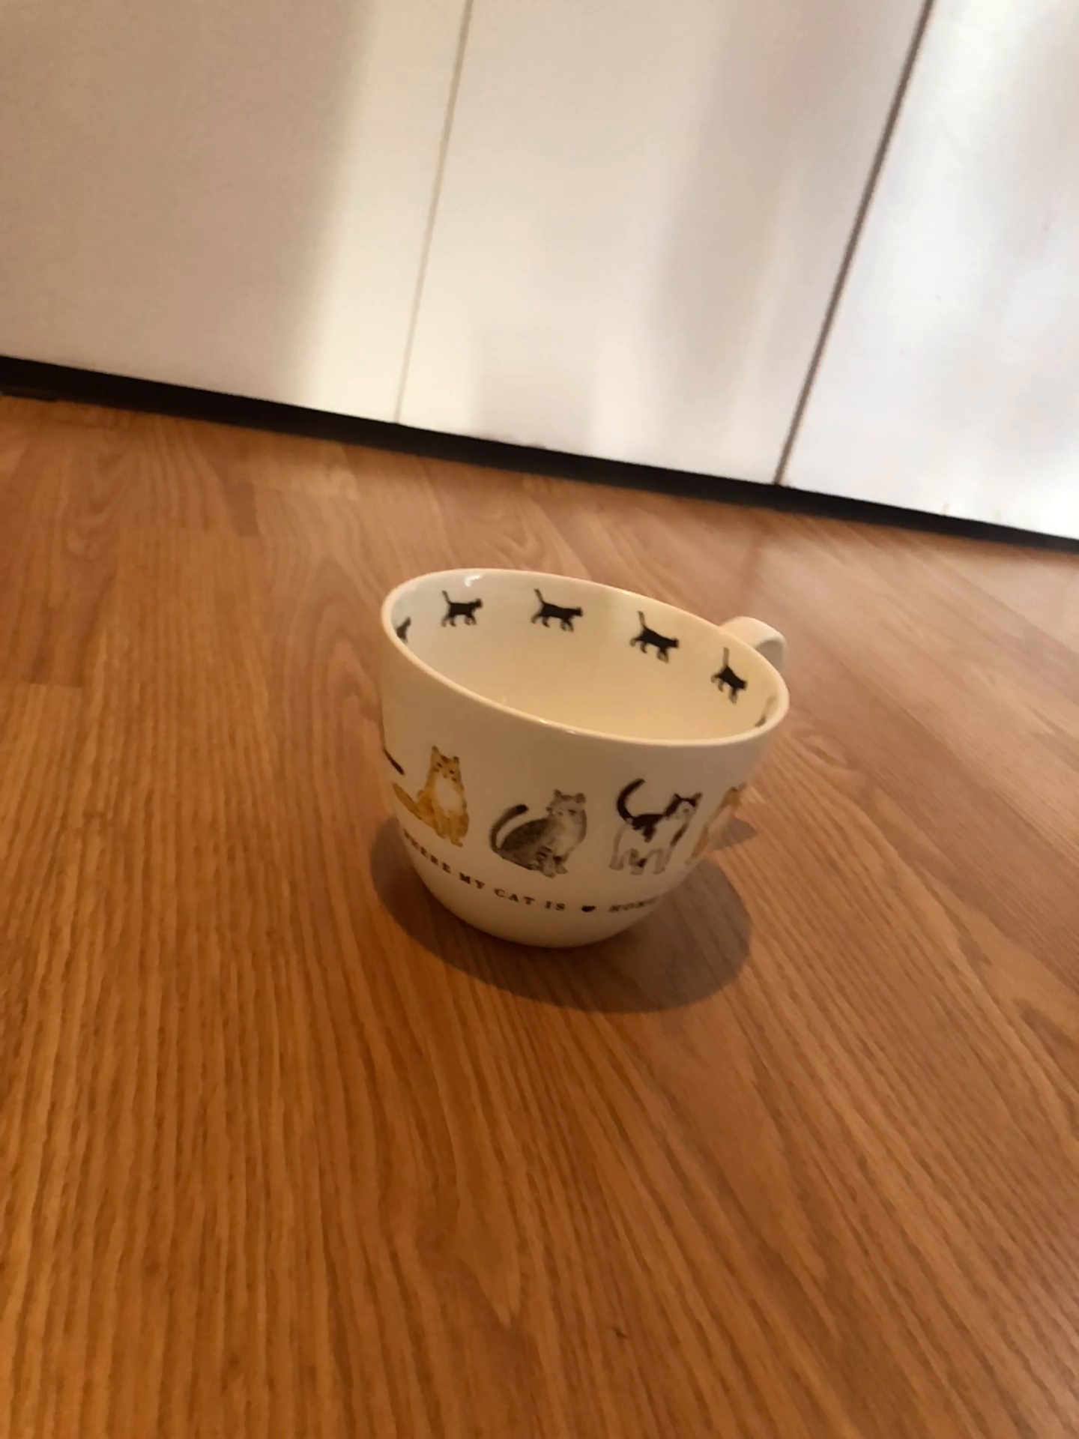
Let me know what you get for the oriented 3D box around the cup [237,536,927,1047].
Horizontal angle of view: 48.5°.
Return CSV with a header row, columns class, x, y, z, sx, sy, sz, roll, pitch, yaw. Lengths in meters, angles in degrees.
class,x,y,z,sx,sy,sz,roll,pitch,yaw
cup,0.014,0.006,0.366,0.160,0.080,0.120,-12,35,-45
